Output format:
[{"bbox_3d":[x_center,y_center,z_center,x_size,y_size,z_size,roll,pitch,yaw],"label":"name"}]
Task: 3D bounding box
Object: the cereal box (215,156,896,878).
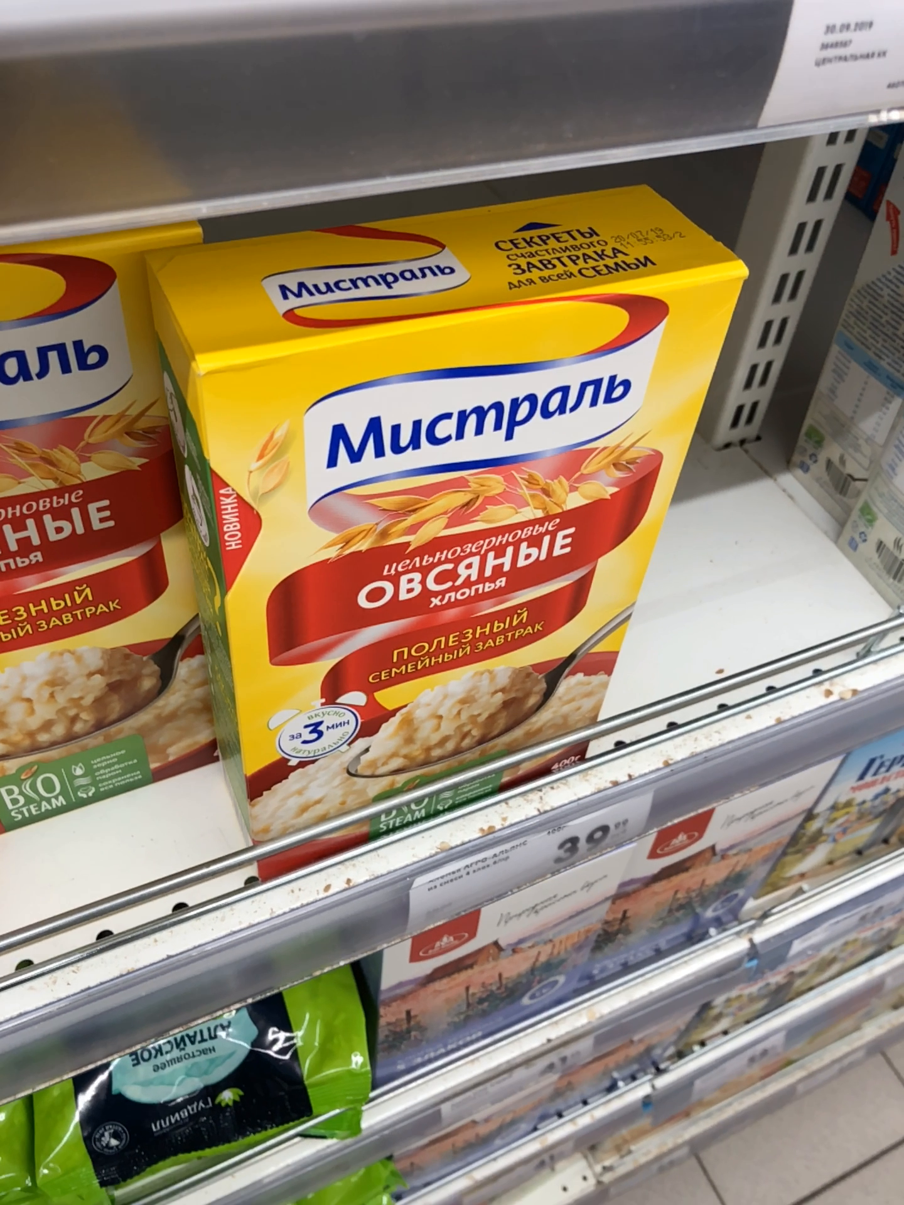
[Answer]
[{"bbox_3d":[0.019,-0.013,0.305,0.150,0.209,0.050,-15,50,-18],"label":"cereal box"}]
